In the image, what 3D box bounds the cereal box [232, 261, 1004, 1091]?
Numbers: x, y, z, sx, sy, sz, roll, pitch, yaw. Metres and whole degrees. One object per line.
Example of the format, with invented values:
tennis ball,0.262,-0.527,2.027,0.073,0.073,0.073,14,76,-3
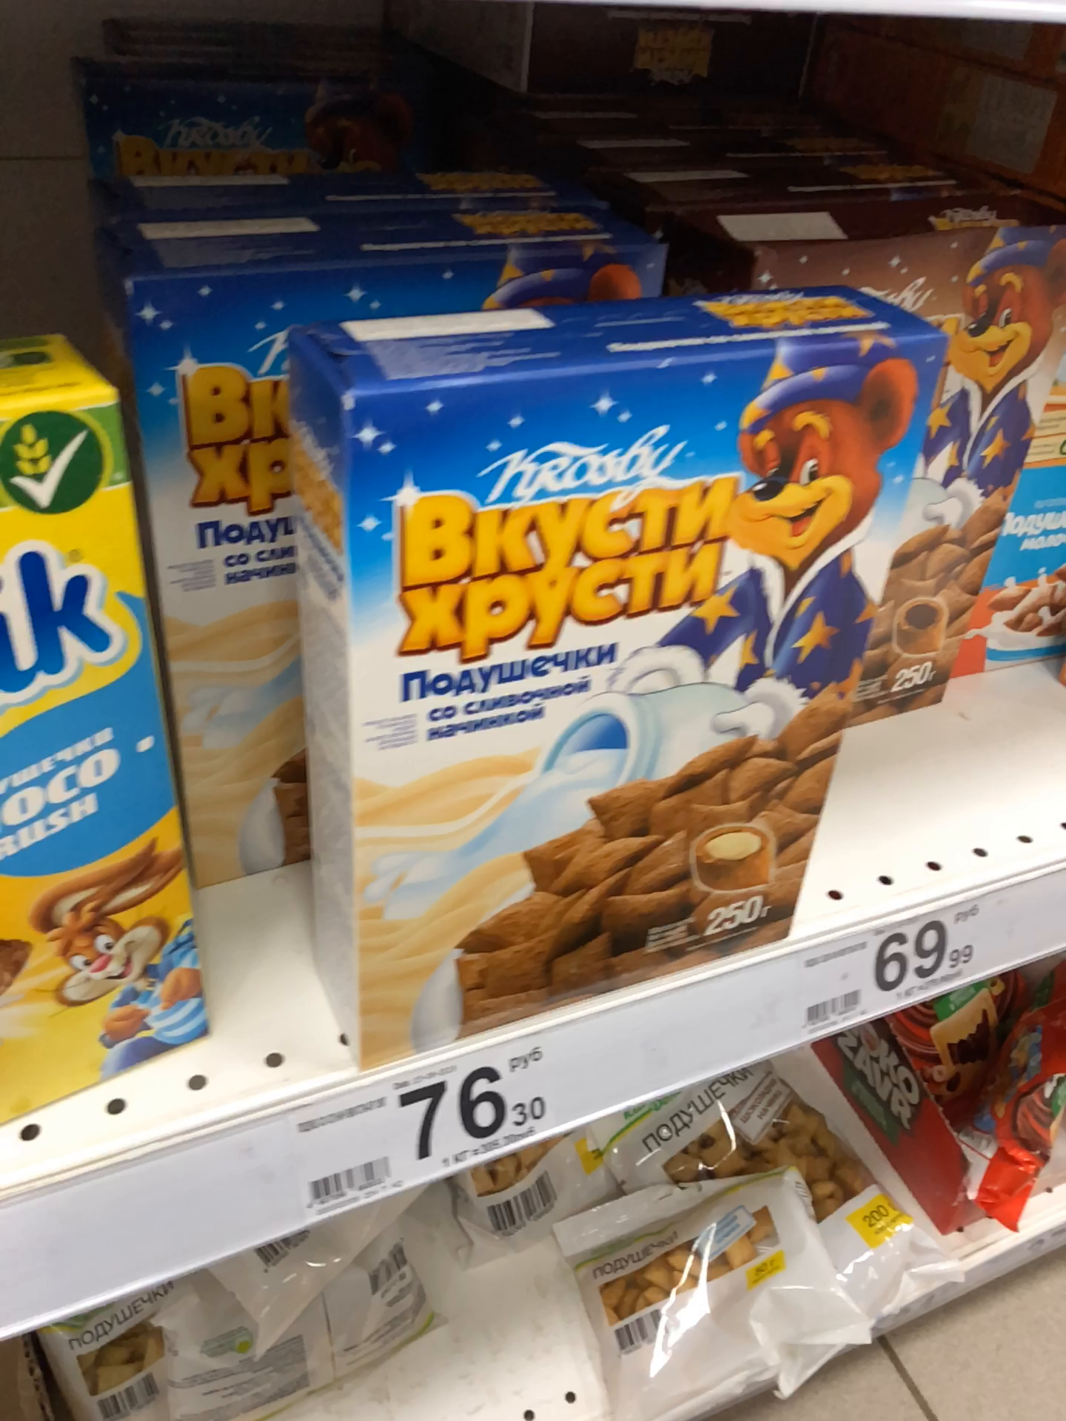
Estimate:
cereal box,0.019,-0.007,0.355,0.190,0.229,0.050,-12,38,-23
